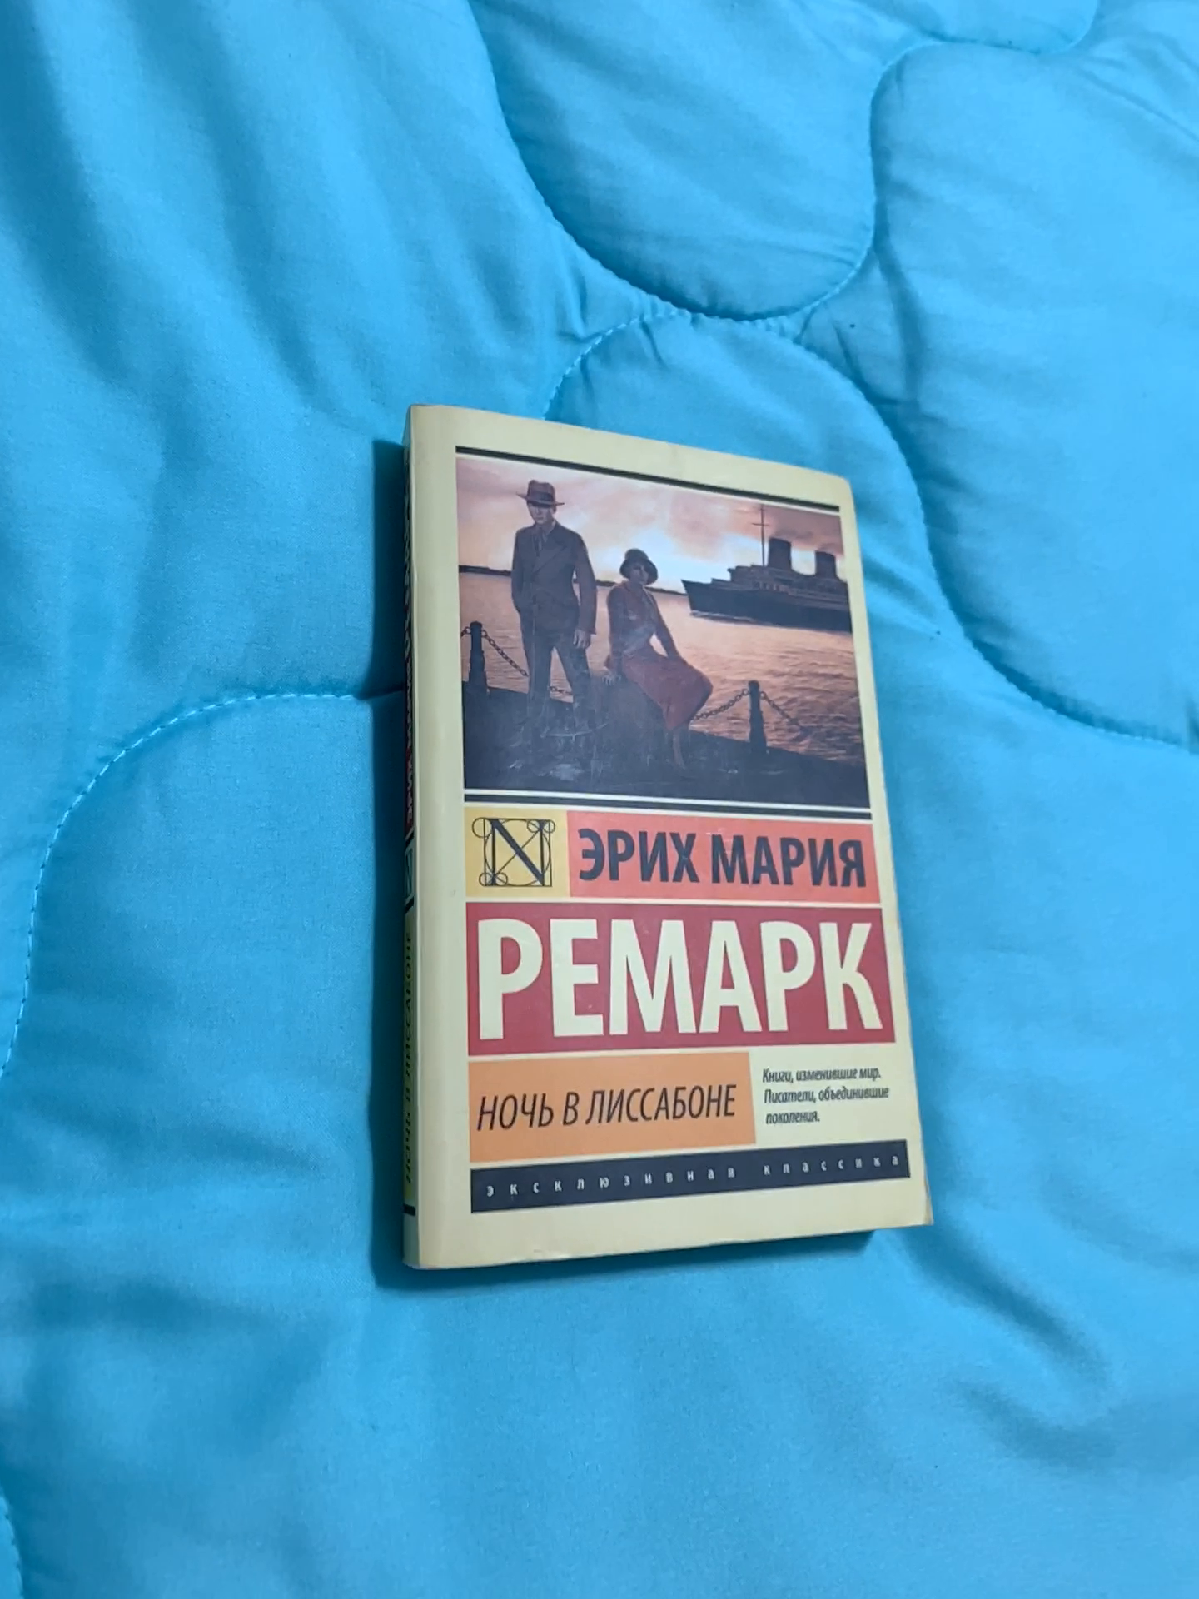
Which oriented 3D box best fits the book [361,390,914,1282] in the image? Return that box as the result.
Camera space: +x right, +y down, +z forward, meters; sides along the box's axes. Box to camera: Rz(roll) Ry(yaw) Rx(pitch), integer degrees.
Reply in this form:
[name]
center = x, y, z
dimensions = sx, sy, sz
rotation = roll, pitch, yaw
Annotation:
[book]
center = 0.007, 0.005, 0.266
dimensions = 0.112, 0.020, 0.172
rotation = 3, 76, -23
